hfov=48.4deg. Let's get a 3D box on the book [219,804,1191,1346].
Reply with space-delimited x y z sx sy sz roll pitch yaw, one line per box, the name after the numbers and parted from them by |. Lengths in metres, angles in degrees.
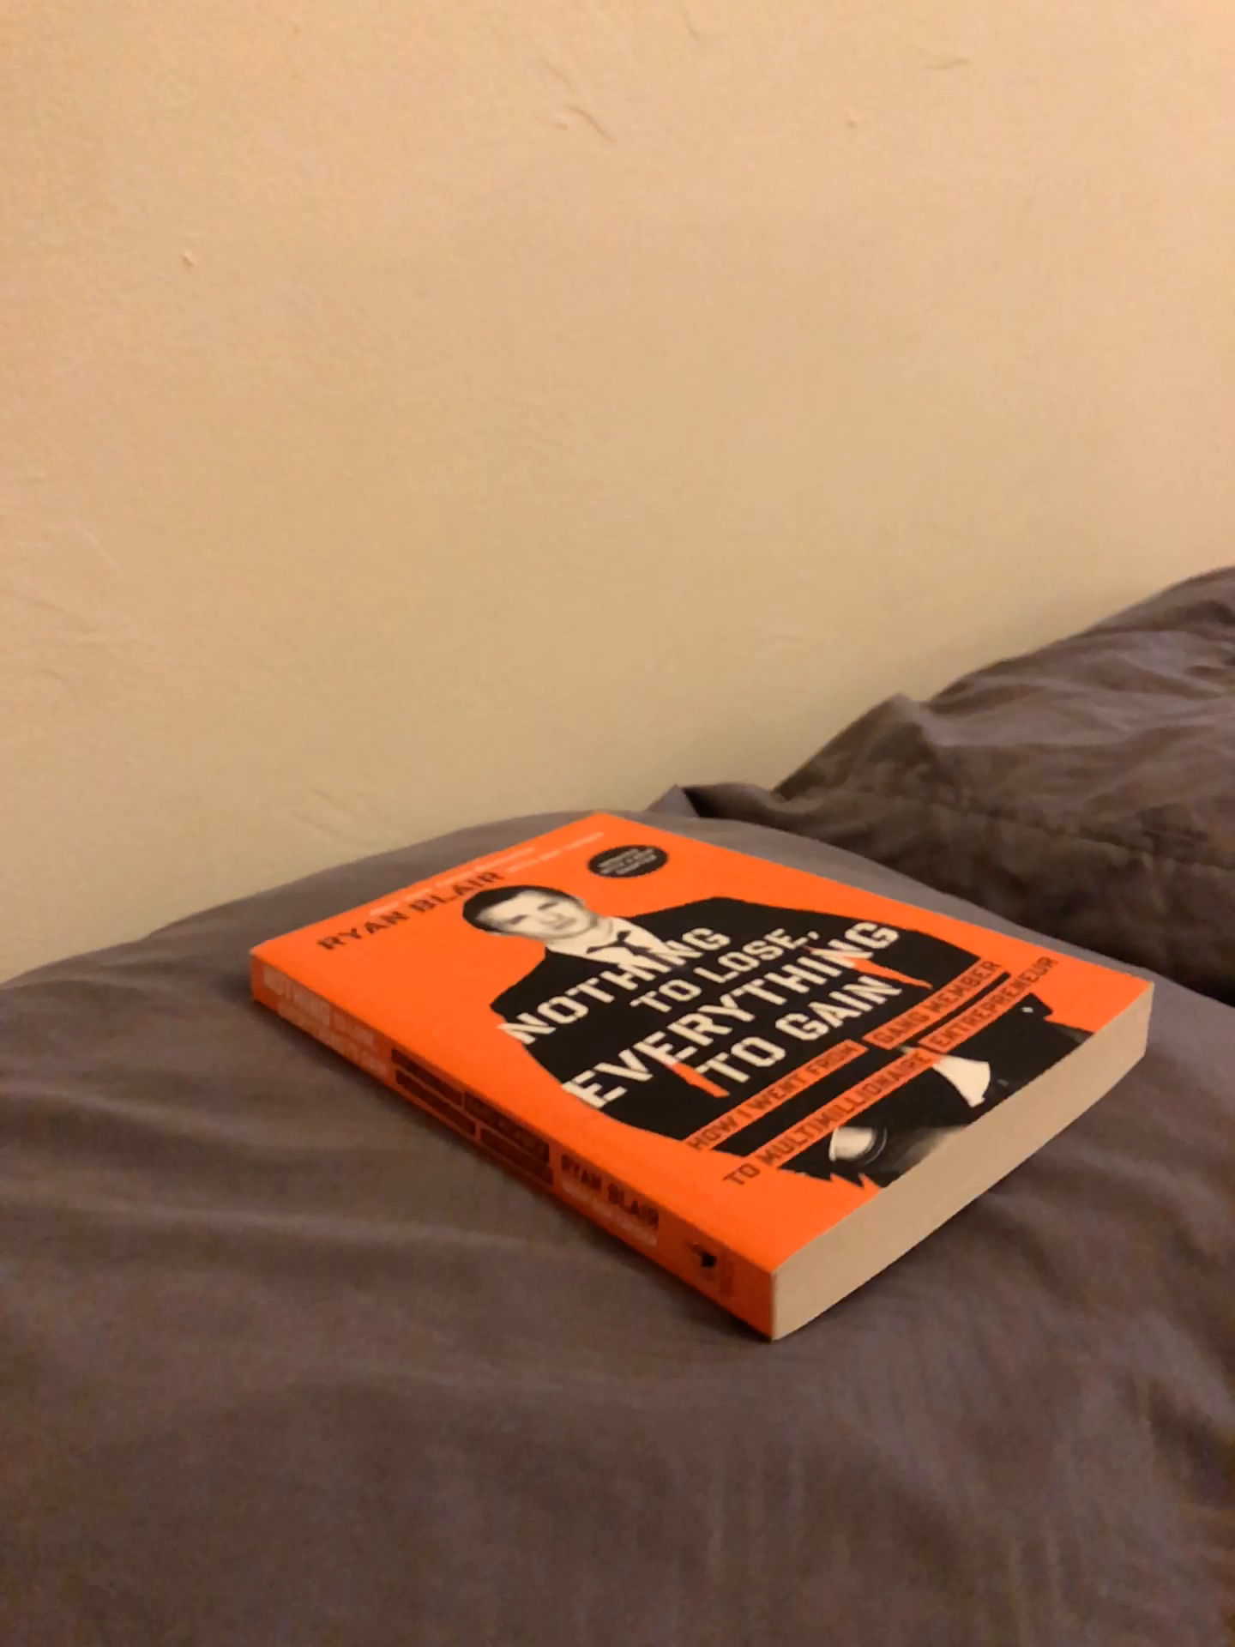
0.012 0.045 0.383 0.150 0.020 0.230 -18 24 -38 | book
